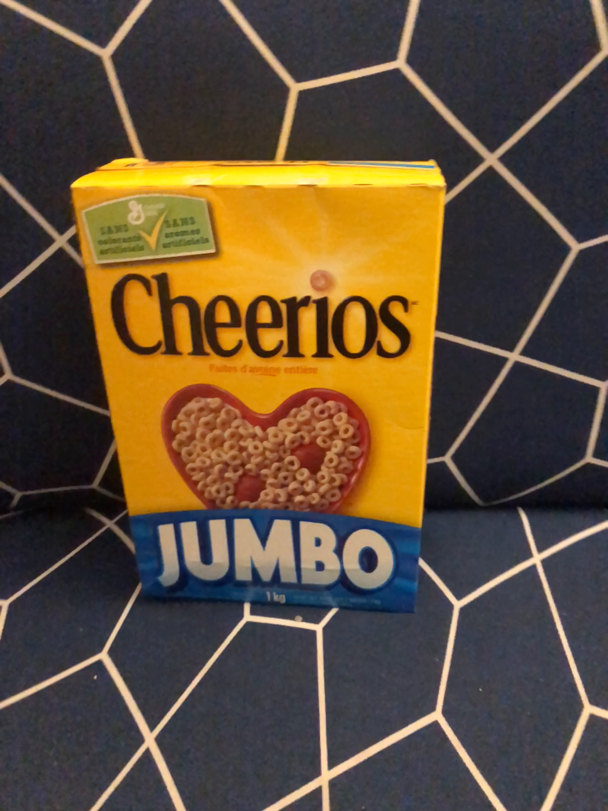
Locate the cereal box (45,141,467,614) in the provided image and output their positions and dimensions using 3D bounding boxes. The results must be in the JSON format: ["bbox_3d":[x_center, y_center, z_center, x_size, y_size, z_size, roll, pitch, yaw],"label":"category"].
[{"bbox_3d":[-0.021,-0.011,0.430,0.210,0.288,0.080,2,27,5],"label":"cereal box"}]
